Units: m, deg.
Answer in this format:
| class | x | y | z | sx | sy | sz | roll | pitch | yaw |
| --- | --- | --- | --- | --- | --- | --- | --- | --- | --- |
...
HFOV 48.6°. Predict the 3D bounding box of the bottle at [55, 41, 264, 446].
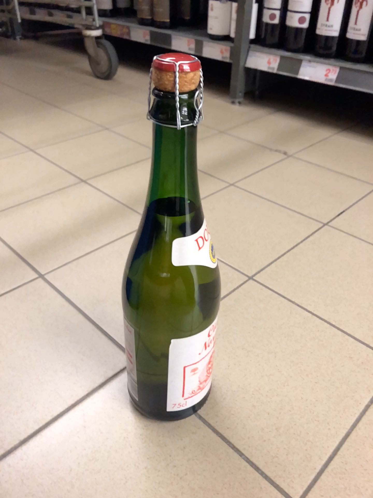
| class | x | y | z | sx | sy | sz | roll | pitch | yaw |
| --- | --- | --- | --- | --- | --- | --- | --- | --- | --- |
| bottle | -0.012 | 0.011 | 0.316 | 0.090 | 0.288 | 0.101 | 11 | 35 | 13 |
